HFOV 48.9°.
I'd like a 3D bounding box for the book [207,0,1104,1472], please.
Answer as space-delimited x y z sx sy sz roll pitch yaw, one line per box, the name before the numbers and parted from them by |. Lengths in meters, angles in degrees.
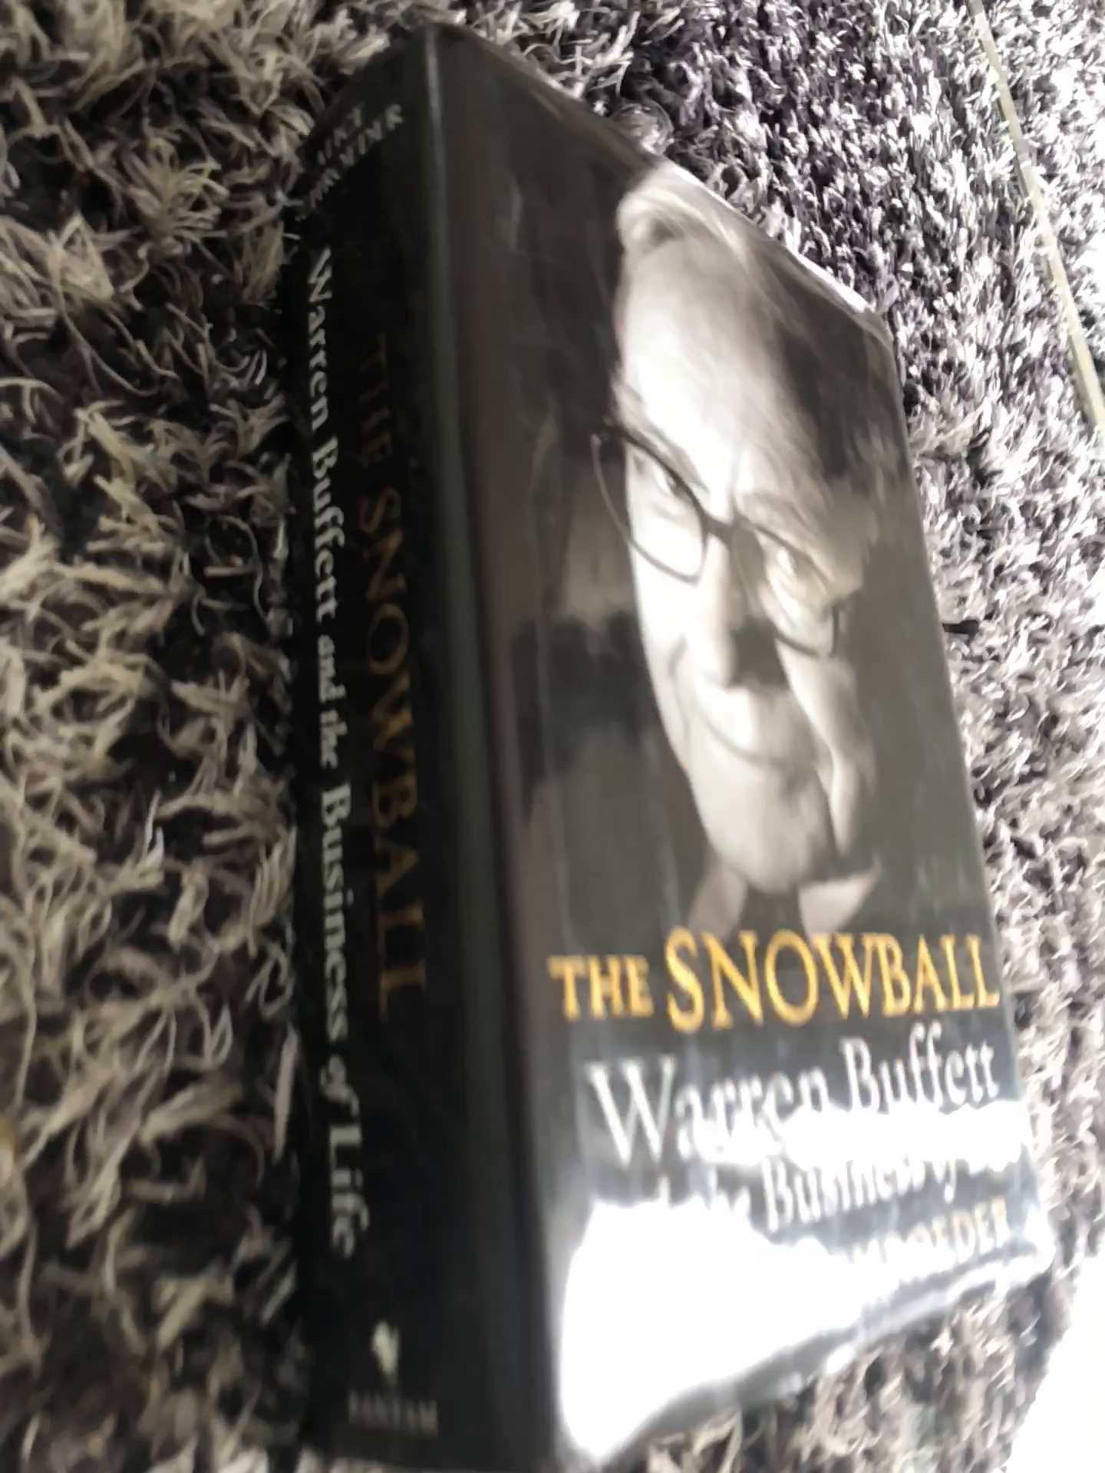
book | 0.026 -0.001 0.255 0.181 0.060 0.250 11 68 -46
